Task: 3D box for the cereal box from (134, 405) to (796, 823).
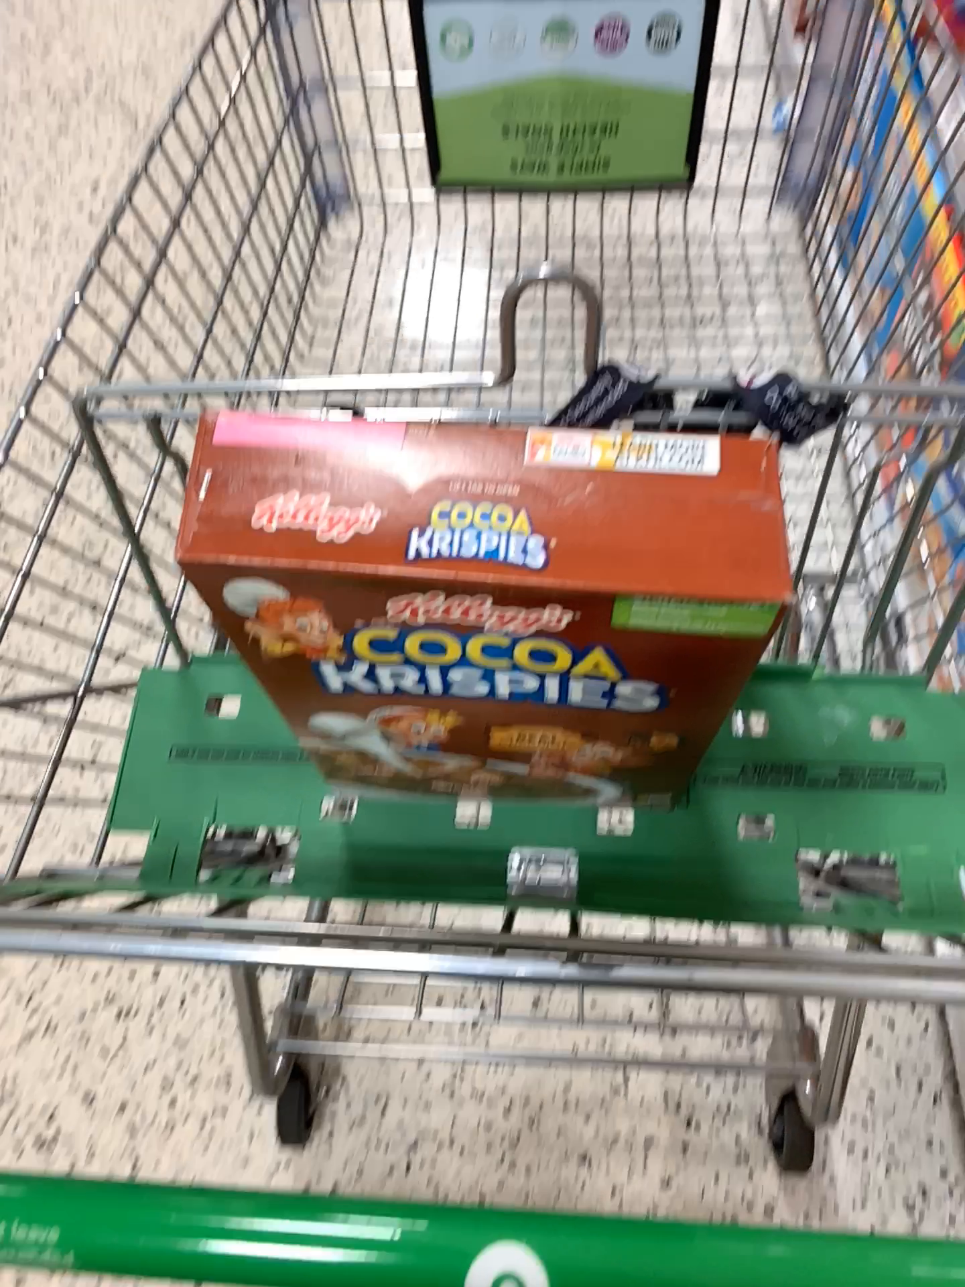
[{"bbox_3d":[0.004,0.012,0.451,0.200,0.308,0.060,3,68,5],"label":"cereal box"}]
